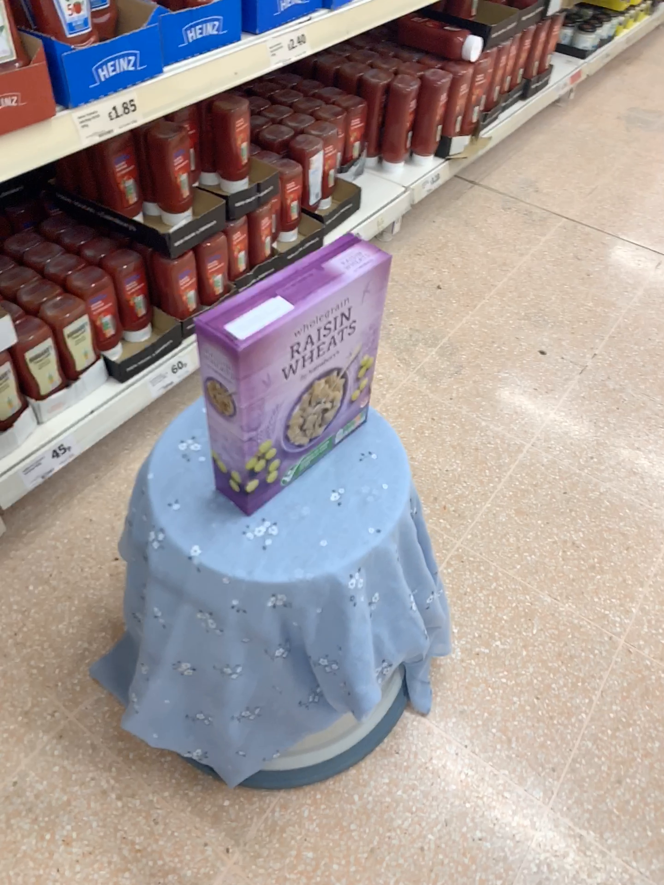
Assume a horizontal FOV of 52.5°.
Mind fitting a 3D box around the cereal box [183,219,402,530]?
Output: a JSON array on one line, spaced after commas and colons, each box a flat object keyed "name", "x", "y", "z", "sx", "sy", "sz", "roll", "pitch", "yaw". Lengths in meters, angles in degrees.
[{"name": "cereal box", "x": -0.035, "y": -0.060, "z": 0.650, "sx": 0.060, "sy": 0.238, "sz": 0.201, "roll": 35, "pitch": 54, "yaw": 23}]
